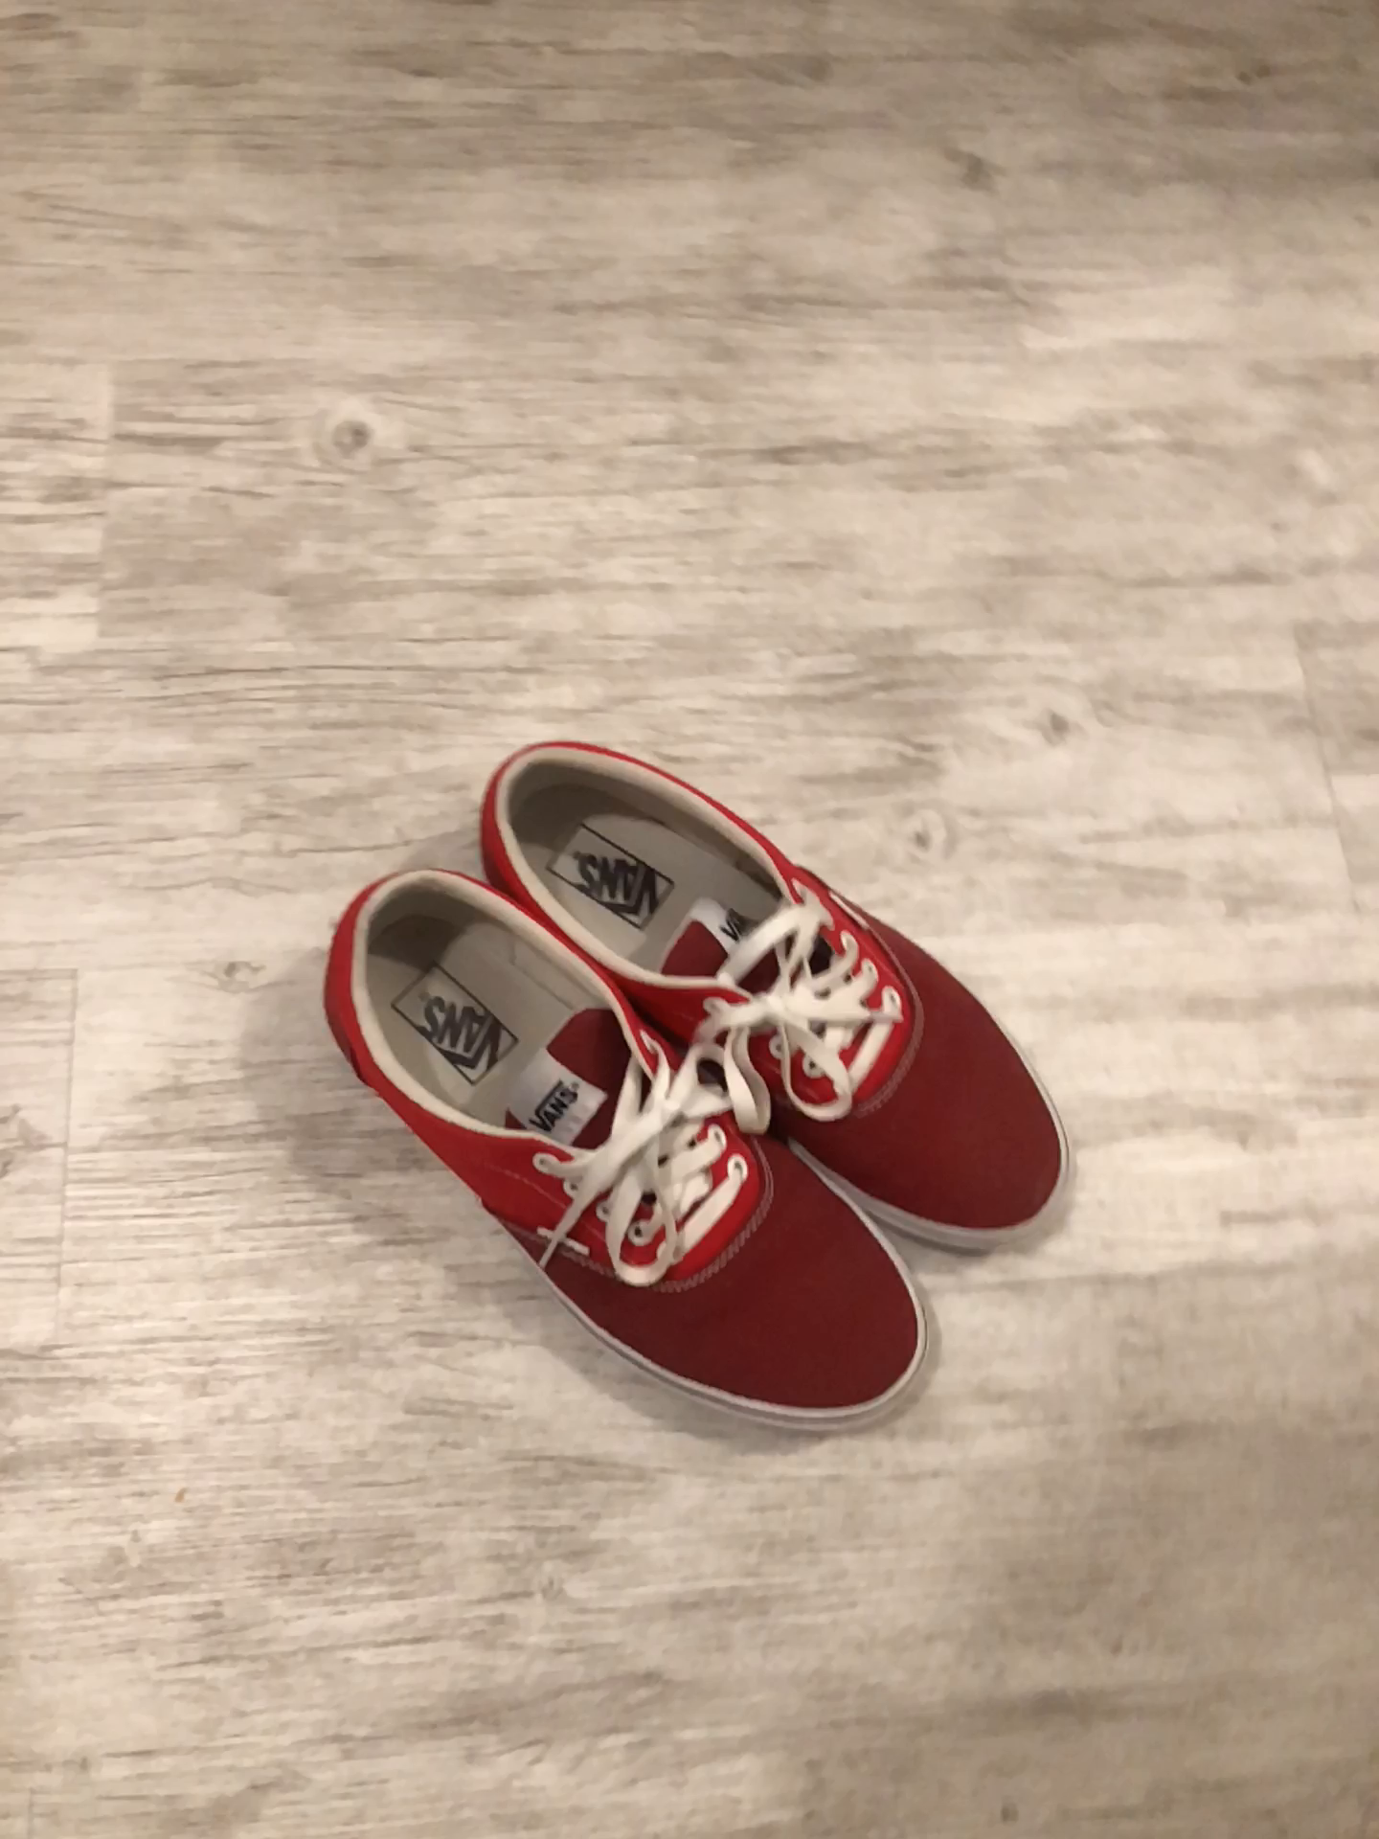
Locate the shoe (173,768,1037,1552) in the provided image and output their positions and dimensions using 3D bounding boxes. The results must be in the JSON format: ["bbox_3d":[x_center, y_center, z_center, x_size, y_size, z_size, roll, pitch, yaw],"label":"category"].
[{"bbox_3d":[-0.032,0.084,0.537,0.272,0.093,0.110,37,73,8],"label":"shoe"}]

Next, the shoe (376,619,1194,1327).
[{"bbox_3d":[0.029,0.022,0.560,0.266,0.088,0.110,35,72,7],"label":"shoe"}]
